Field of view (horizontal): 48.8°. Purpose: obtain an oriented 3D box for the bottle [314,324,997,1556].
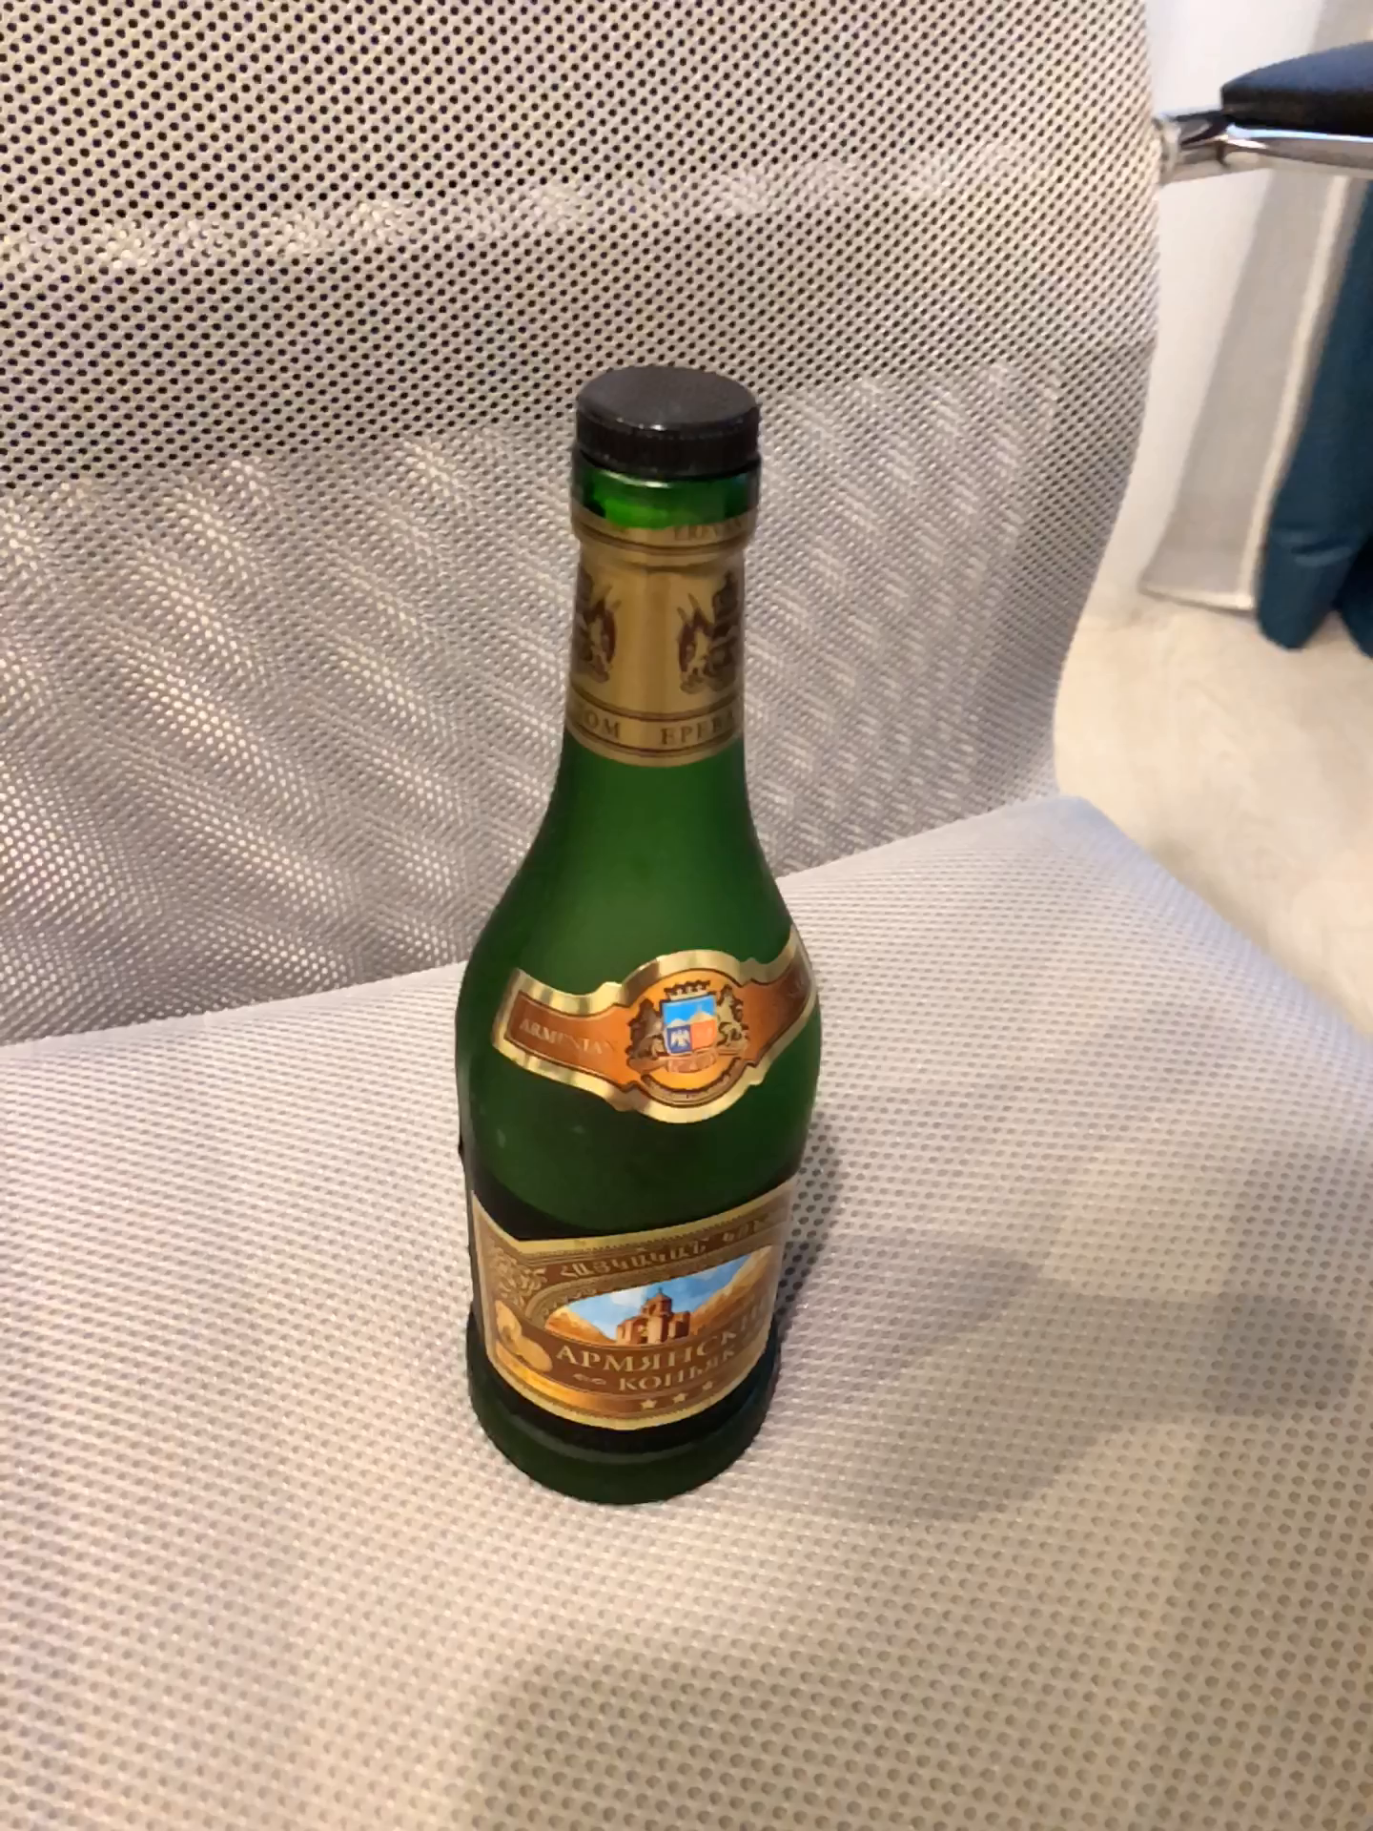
[{"bbox_3d":[-0.011,0.023,0.291,0.078,0.238,0.075,1,43,-1],"label":"bottle"}]
